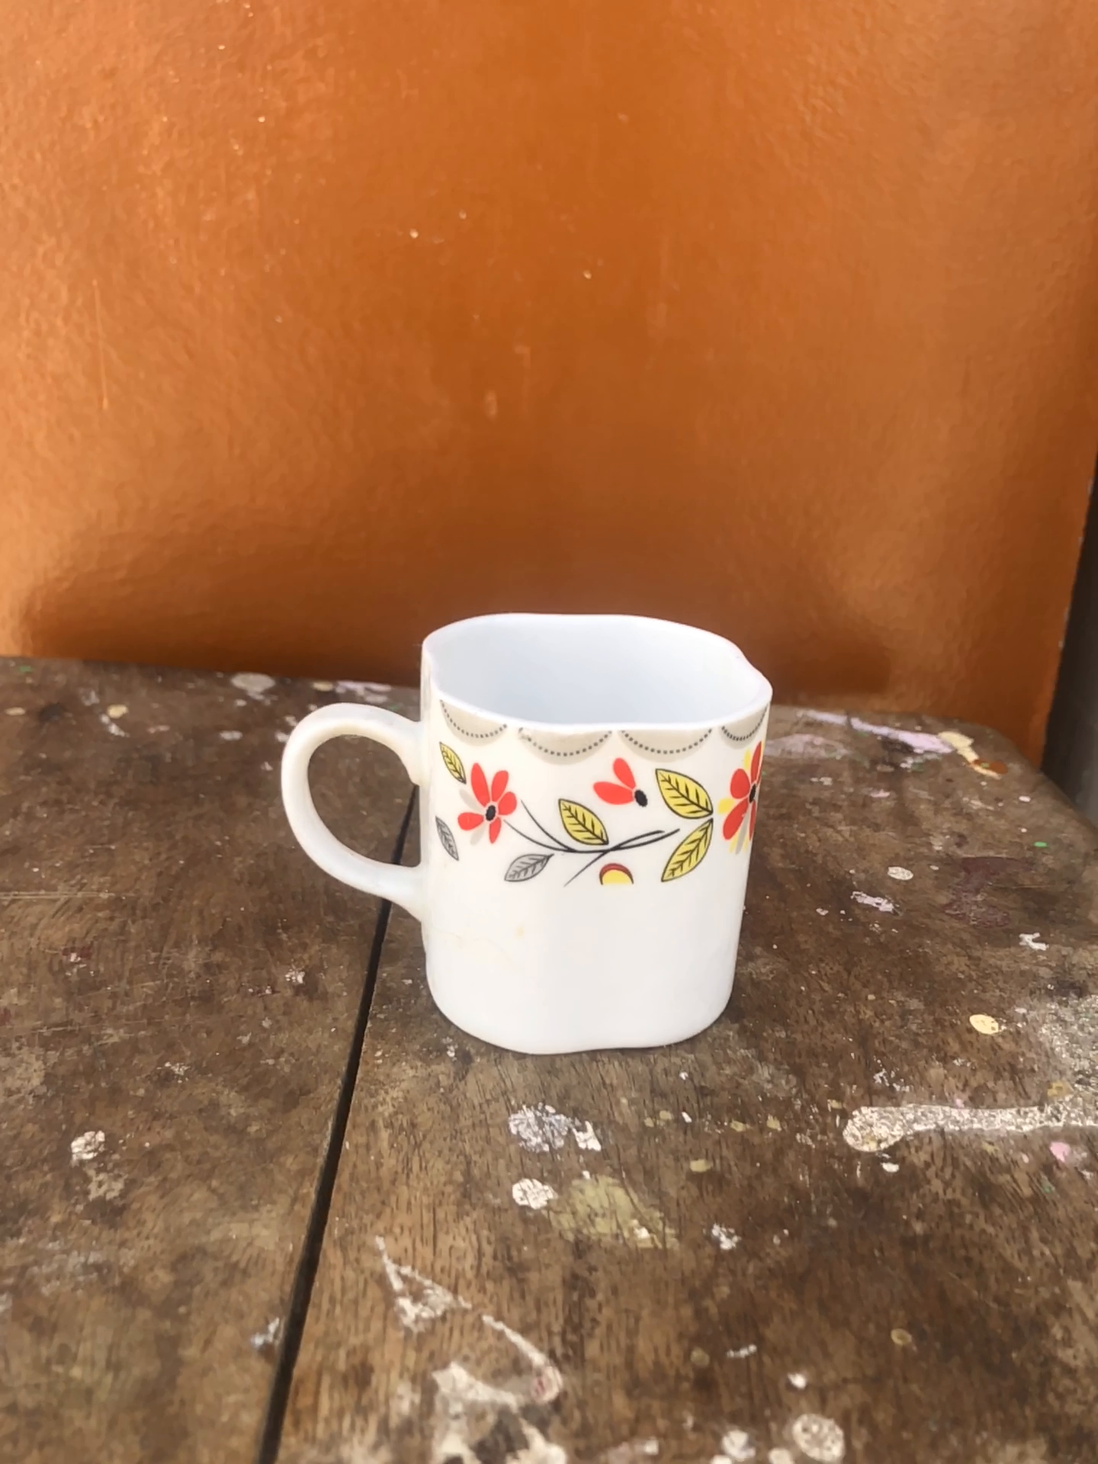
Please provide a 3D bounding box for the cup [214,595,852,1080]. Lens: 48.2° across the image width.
[{"bbox_3d":[-0.006,0.013,0.210,0.090,0.060,0.060,-1,20,-9],"label":"cup"}]
